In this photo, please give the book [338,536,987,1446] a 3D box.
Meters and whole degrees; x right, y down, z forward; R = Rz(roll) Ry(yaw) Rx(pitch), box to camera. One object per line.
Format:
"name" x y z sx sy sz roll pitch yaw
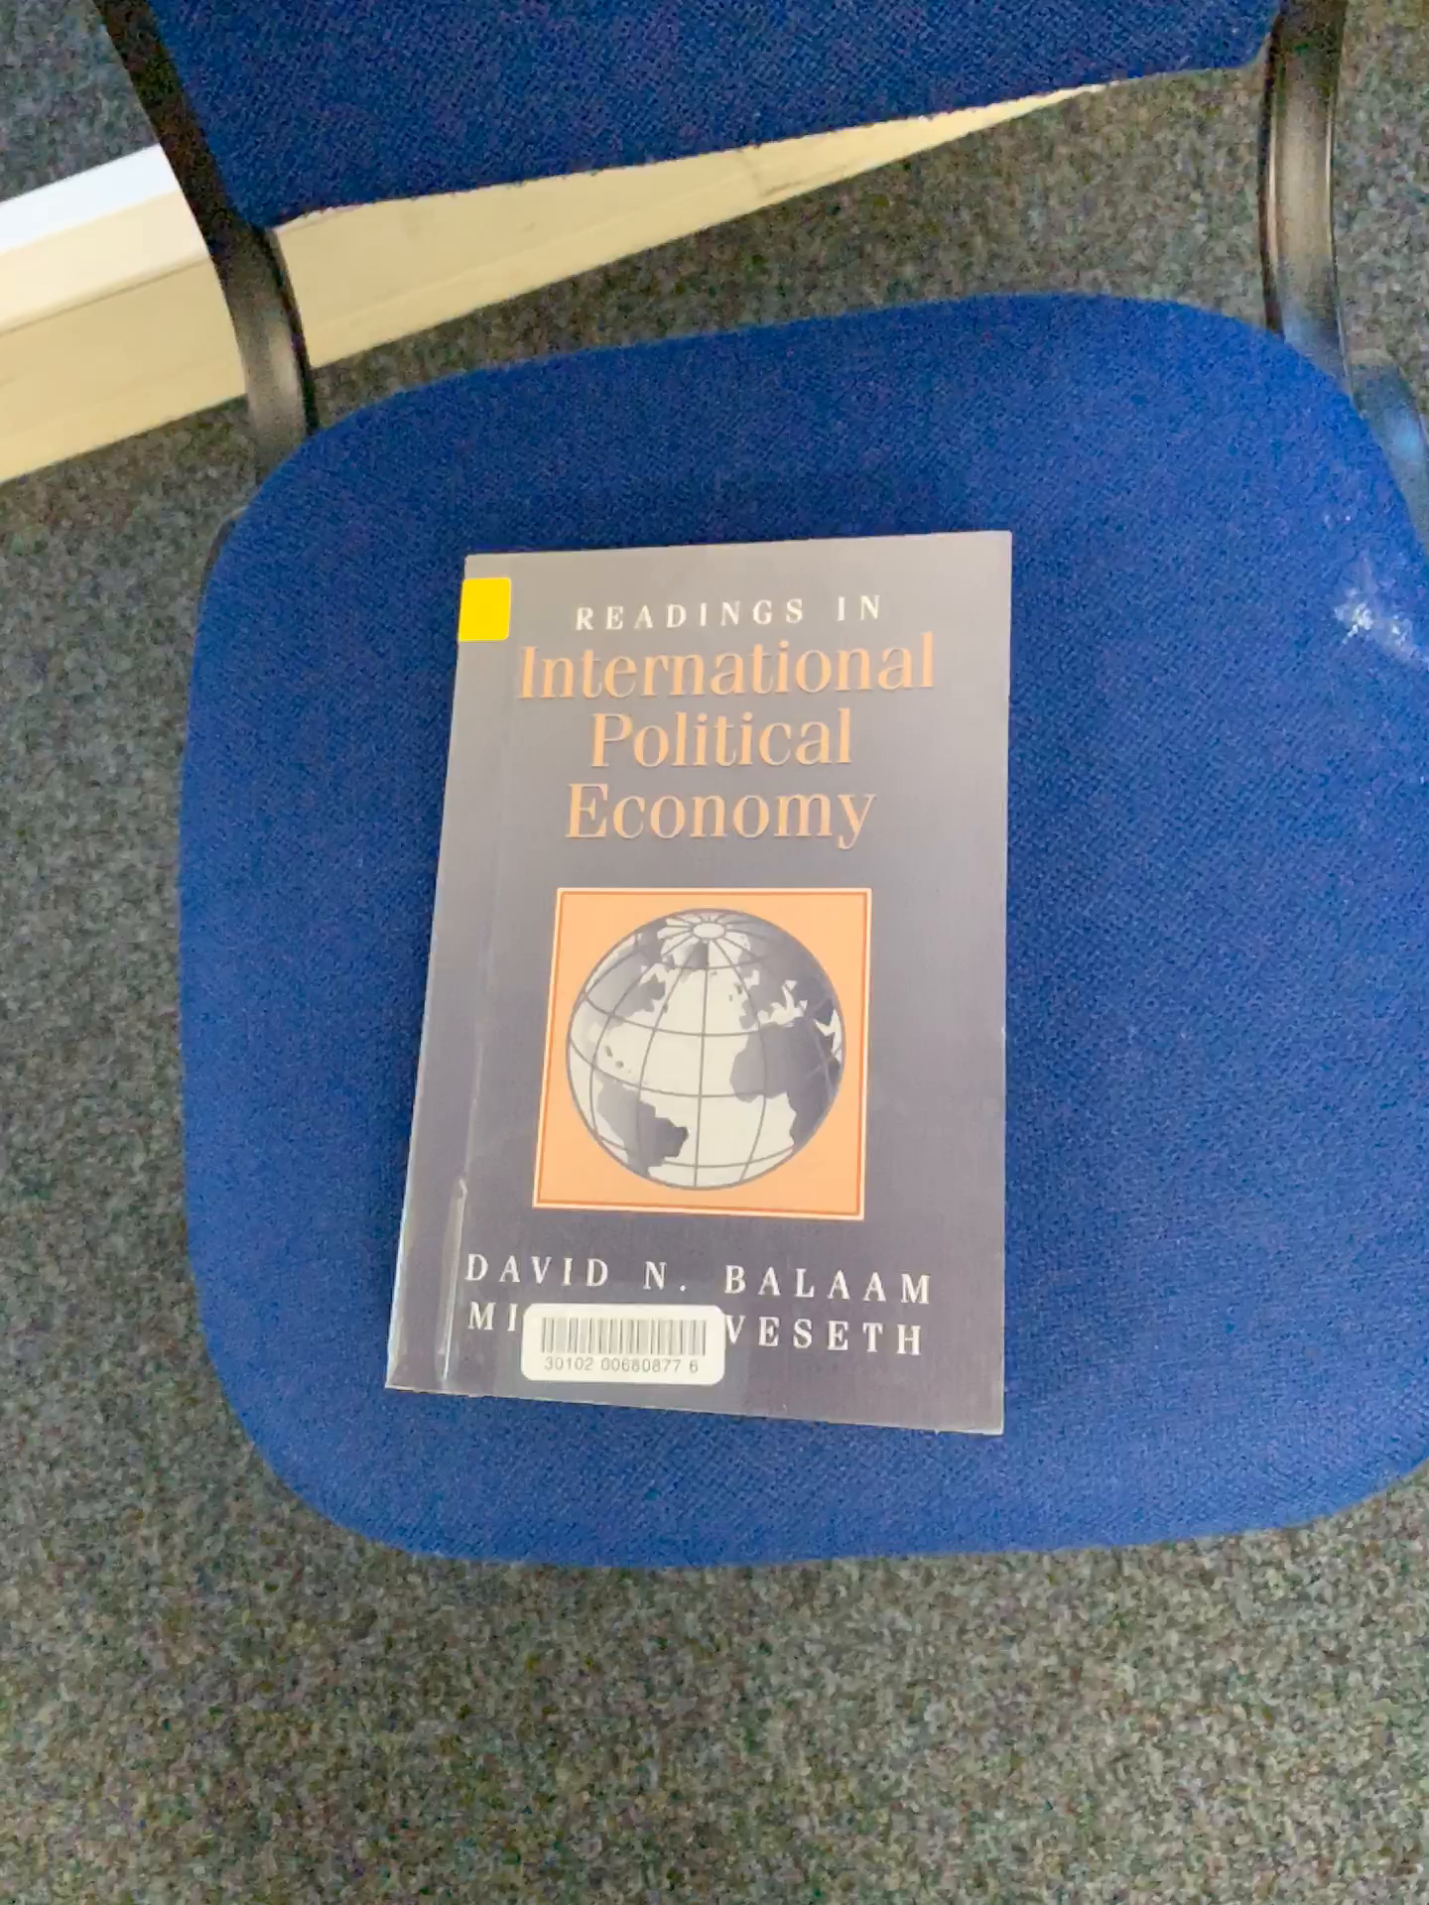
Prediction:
"book" -0.007 0.004 0.374 0.150 0.030 0.220 0 76 9
